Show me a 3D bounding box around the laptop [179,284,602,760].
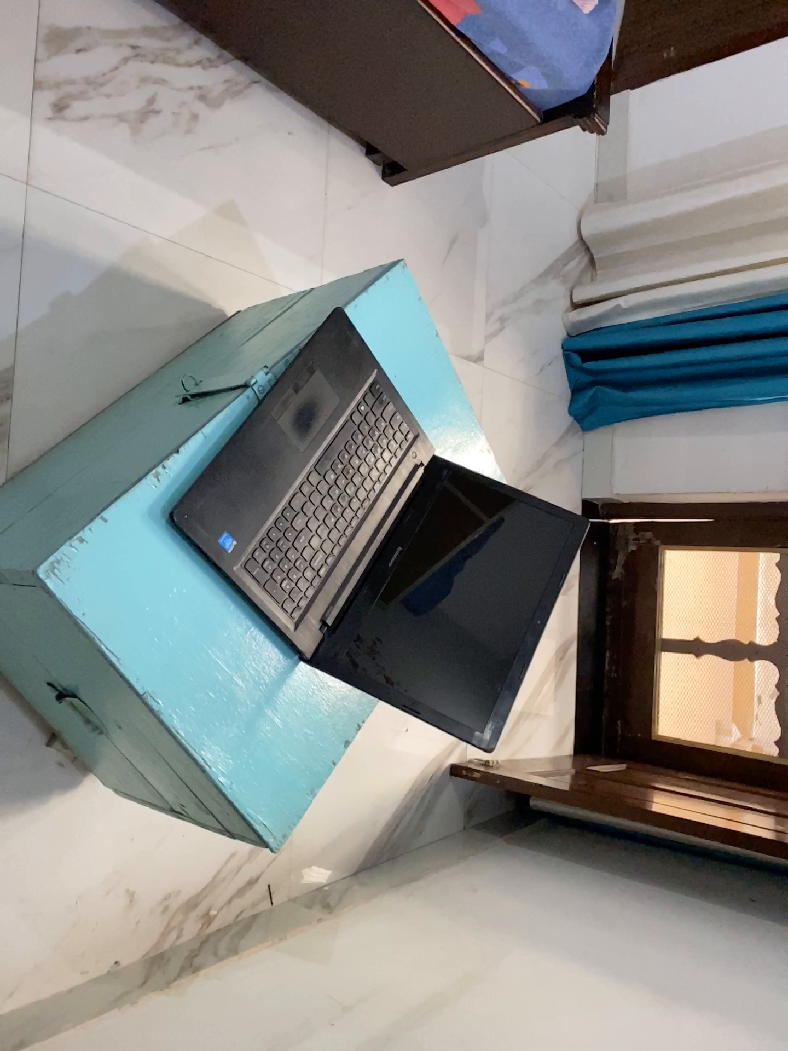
[{"bbox_3d":[0.034,0.000,1.002,0.424,0.190,0.371,53,52,-32],"label":"laptop"}]
